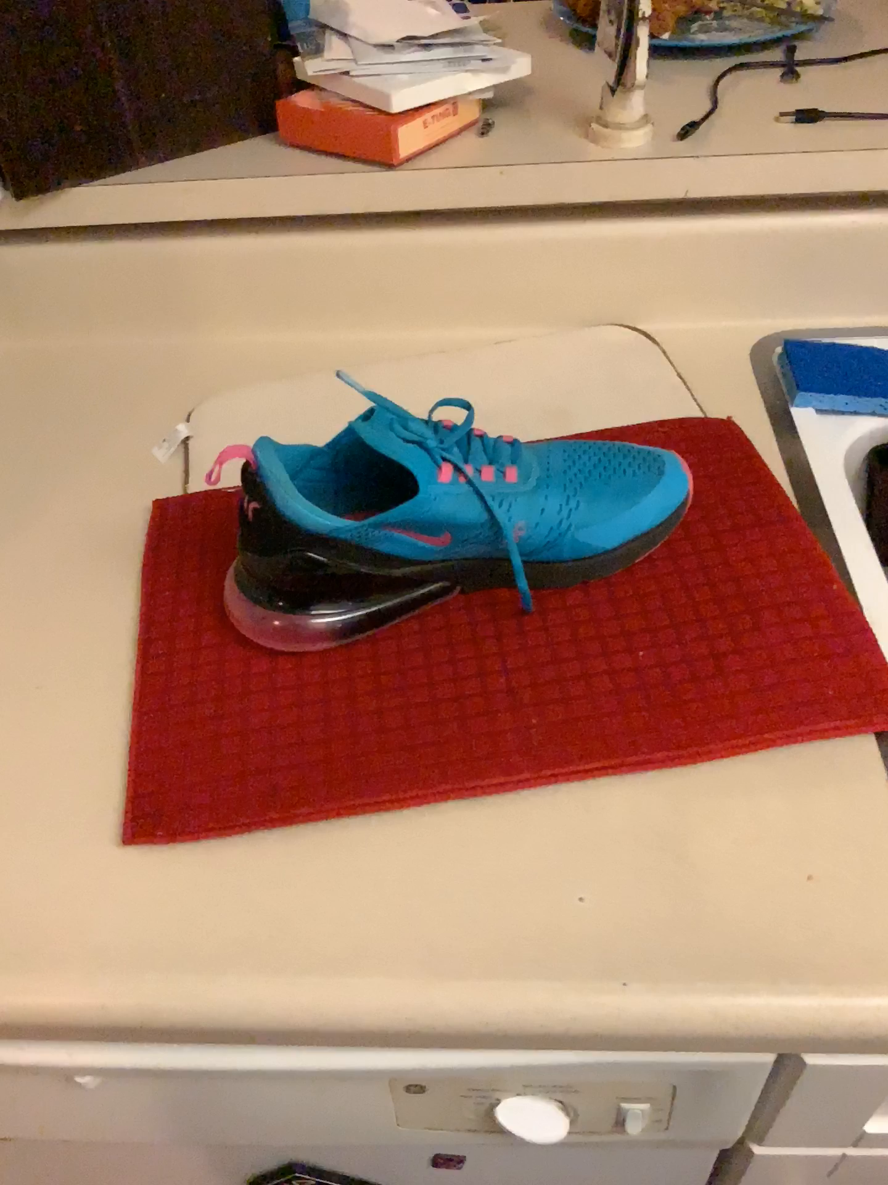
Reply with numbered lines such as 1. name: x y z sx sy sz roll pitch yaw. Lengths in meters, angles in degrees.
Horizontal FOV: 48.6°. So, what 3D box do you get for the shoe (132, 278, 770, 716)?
1. shoe: 0.000 -0.066 0.600 0.330 0.130 0.150 -15 46 -10
